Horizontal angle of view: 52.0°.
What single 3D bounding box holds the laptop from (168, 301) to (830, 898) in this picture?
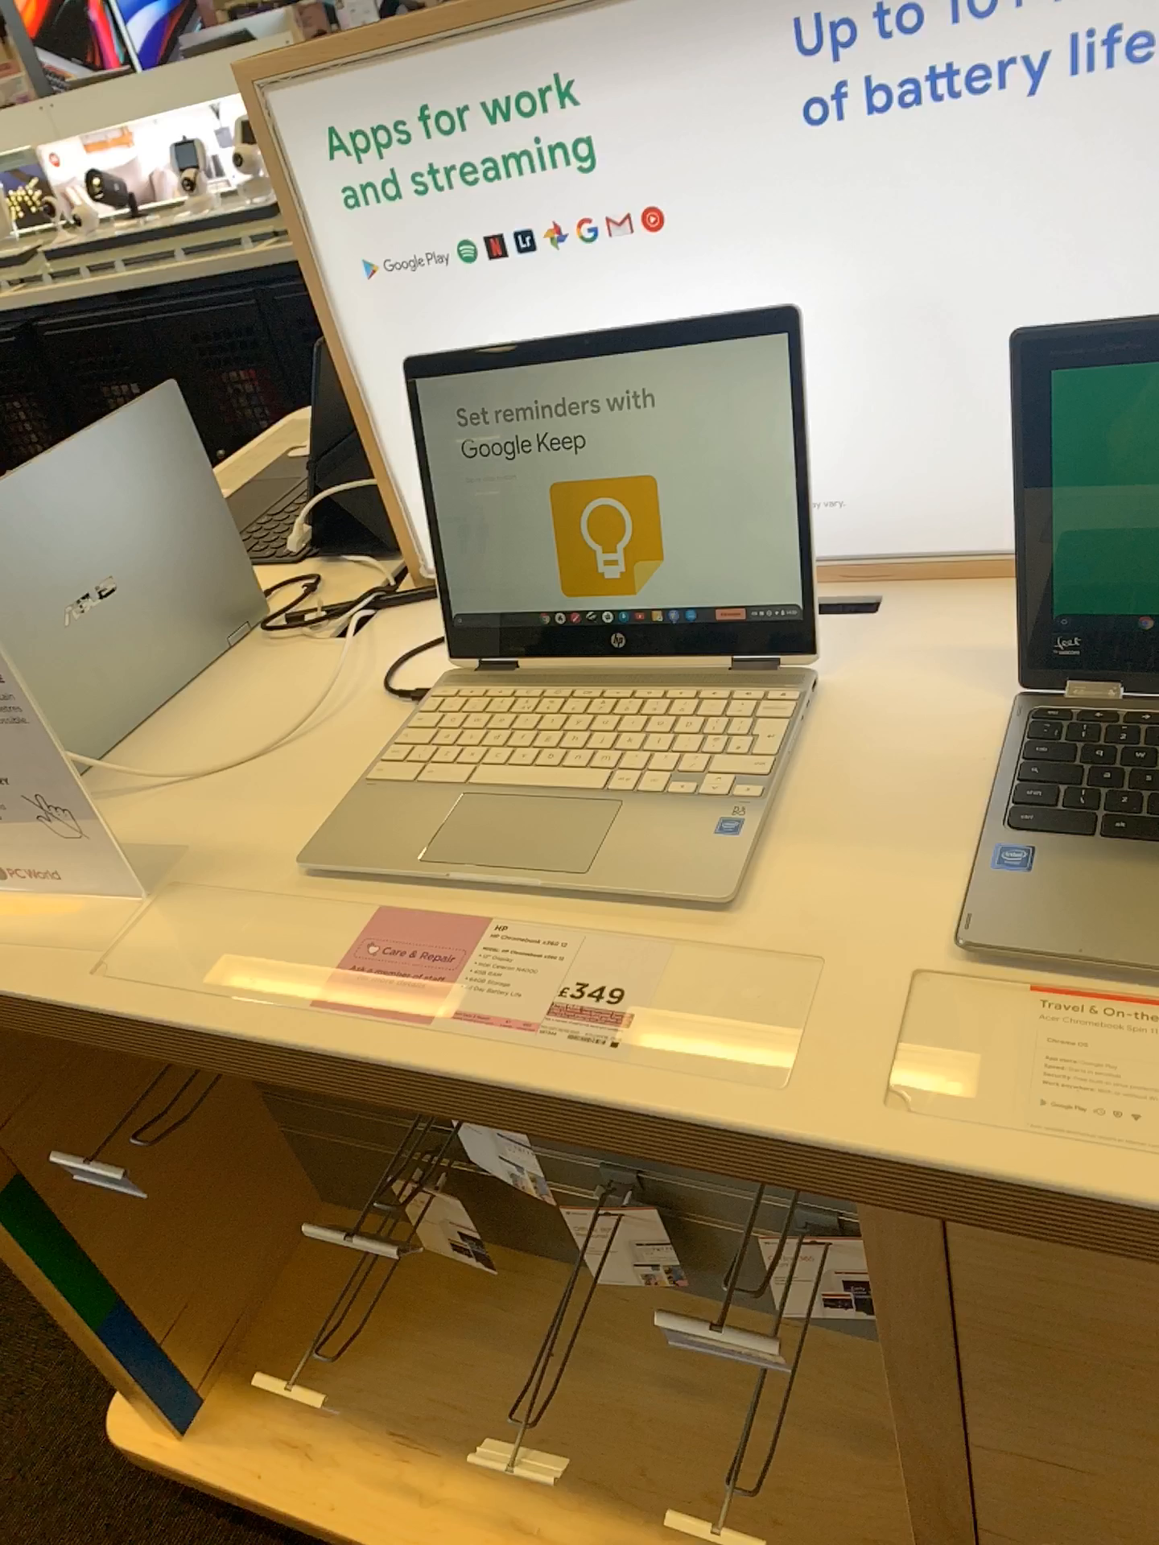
[{"bbox_3d":[-0.021,-0.106,0.681,0.258,0.190,0.271,2,40,26],"label":"laptop"}]
